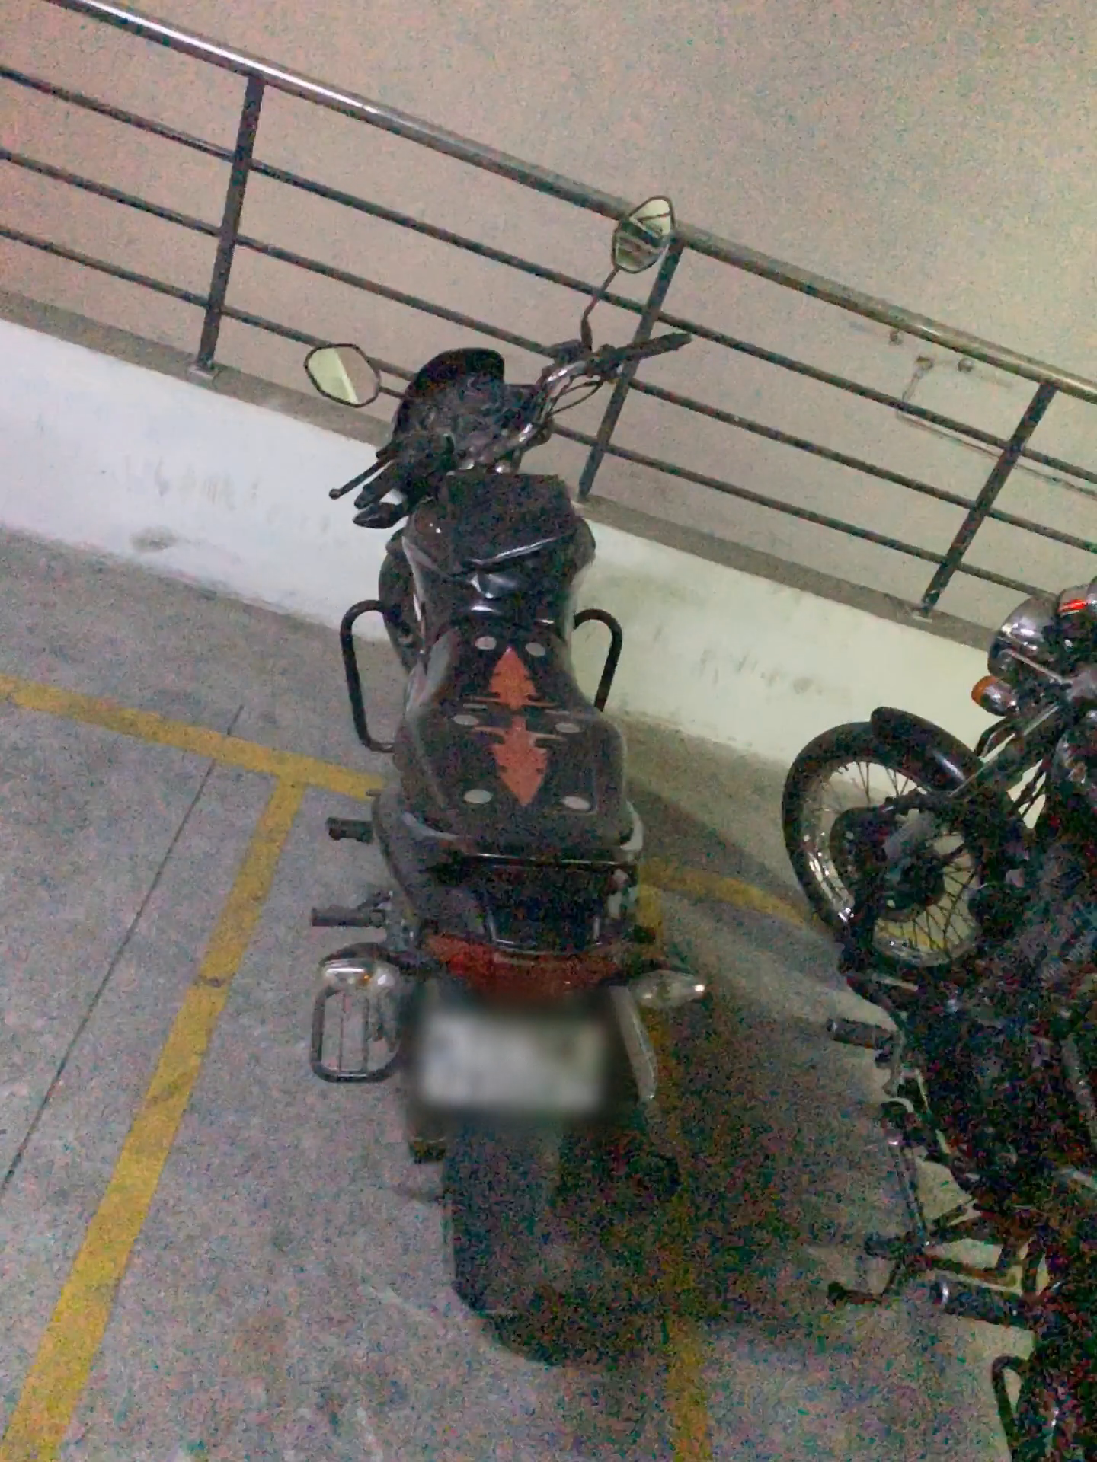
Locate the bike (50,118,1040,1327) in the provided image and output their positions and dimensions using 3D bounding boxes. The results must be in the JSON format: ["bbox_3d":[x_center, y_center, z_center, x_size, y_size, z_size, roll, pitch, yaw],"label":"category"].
[{"bbox_3d":[-0.245,-0.181,1.862,0.755,1.067,1.684,11,32,-20],"label":"bike"}]
